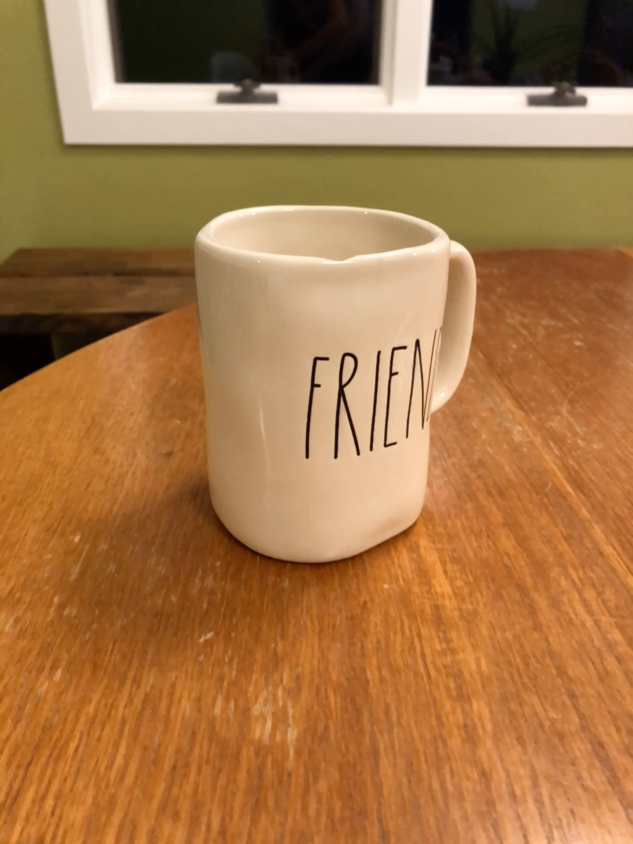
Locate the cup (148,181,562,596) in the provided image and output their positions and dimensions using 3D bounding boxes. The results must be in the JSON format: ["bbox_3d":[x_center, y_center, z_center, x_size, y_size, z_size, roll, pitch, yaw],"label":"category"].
[{"bbox_3d":[0.016,-0.025,0.278,0.125,0.114,0.084,-20,34,-35],"label":"cup"}]
